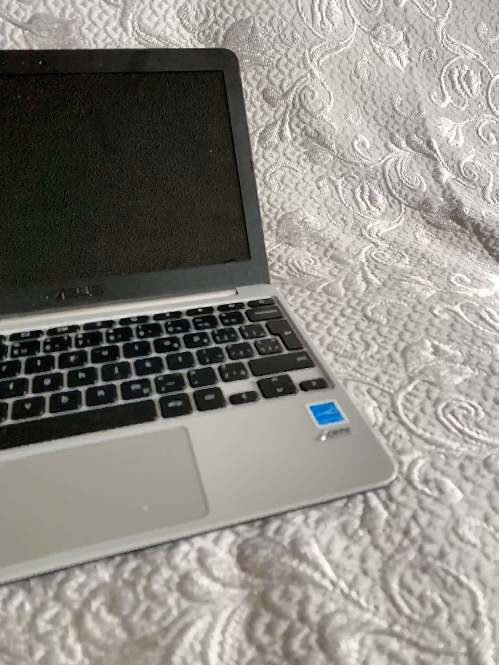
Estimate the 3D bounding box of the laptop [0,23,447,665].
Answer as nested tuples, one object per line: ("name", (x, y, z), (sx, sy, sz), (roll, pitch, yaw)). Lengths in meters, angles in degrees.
("laptop", (-0.105, -0.051, 0.281), (0.288, 0.127, 0.288), (-8, 43, -22))
